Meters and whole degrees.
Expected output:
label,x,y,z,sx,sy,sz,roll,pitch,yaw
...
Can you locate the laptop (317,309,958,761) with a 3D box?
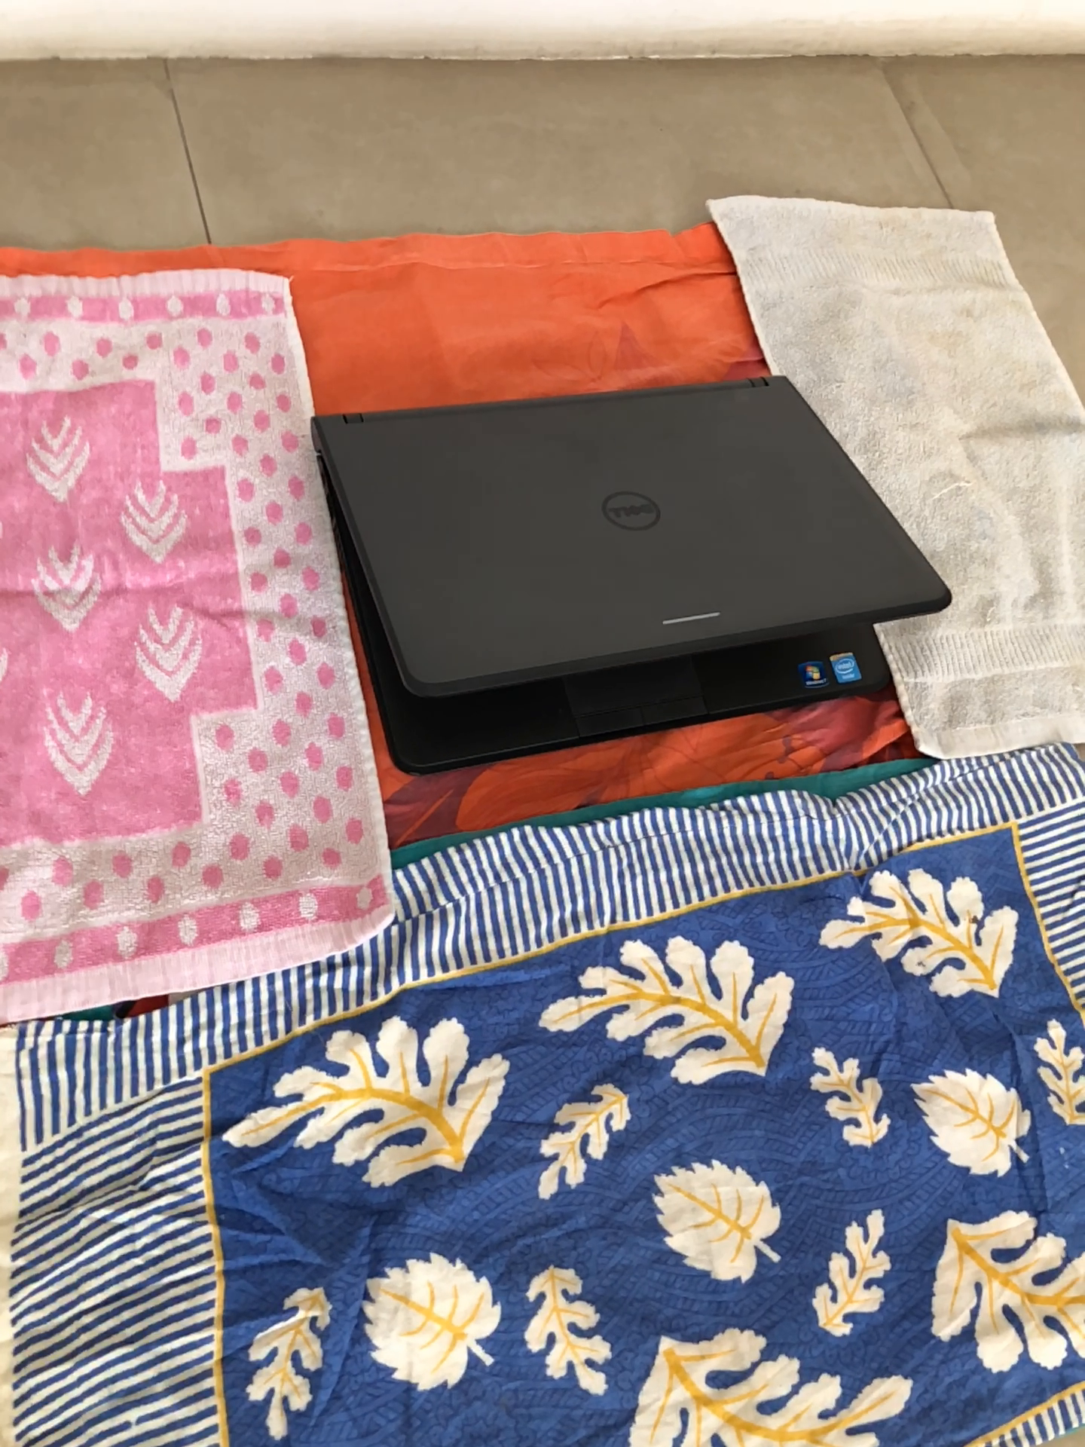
label,x,y,z,sx,sy,sz,roll,pitch,yaw
laptop,0.049,-0.122,0.703,0.315,0.078,0.227,-10,67,-18
